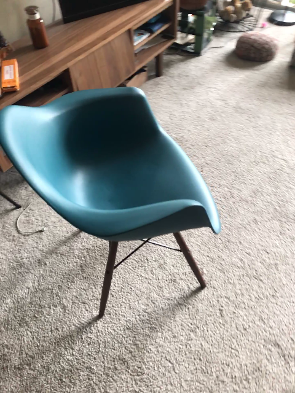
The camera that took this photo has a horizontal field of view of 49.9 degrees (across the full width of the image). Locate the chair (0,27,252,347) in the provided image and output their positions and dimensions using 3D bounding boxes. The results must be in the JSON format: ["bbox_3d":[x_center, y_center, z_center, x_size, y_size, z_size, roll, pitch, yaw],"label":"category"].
[{"bbox_3d":[-0.089,0.029,1.080,0.481,0.845,0.573,-18,52,-9],"label":"chair"}]
